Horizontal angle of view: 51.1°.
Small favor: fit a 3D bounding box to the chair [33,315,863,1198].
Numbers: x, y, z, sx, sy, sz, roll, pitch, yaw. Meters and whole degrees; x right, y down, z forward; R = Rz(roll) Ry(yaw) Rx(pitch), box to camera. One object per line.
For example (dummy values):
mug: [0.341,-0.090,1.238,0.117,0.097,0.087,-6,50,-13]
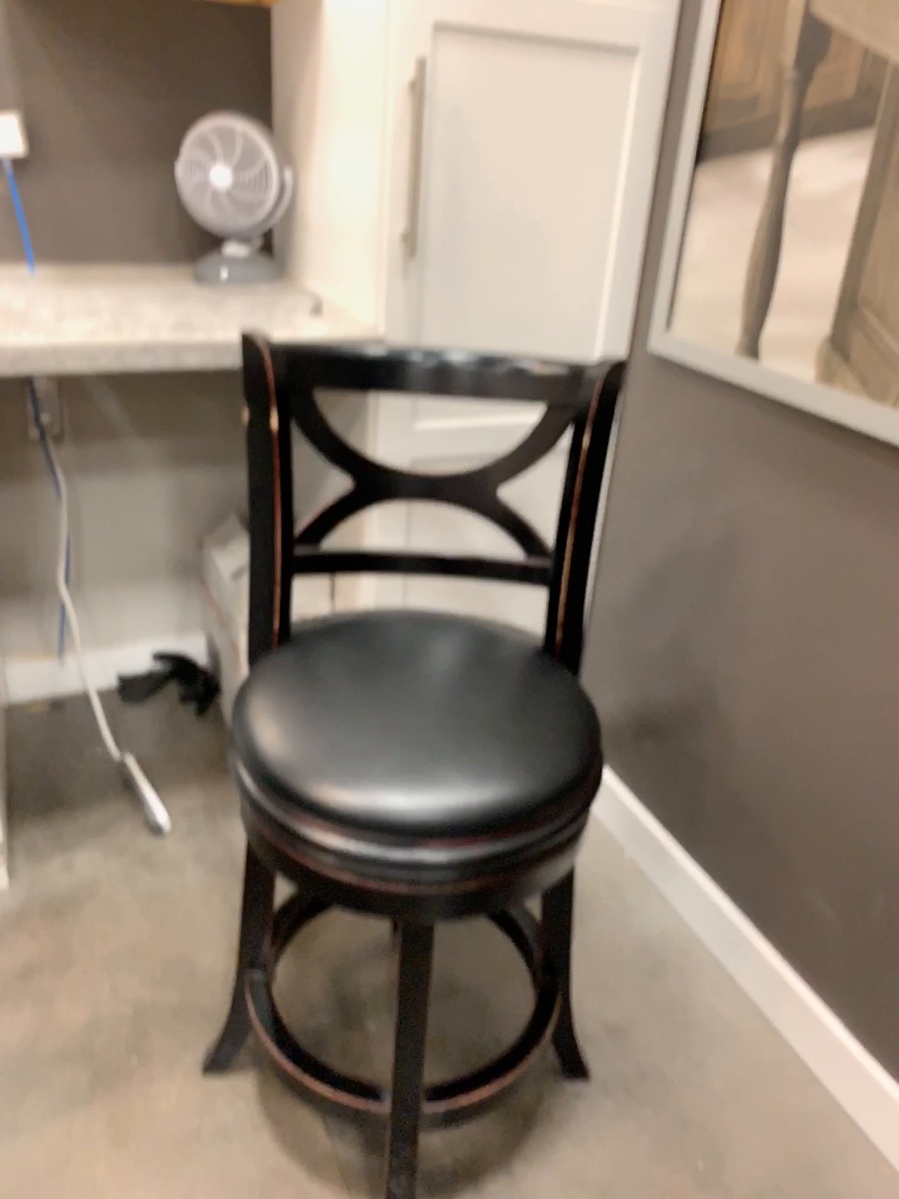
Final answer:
chair: [-0.042,0.208,1.100,0.557,0.912,0.607,2,26,-5]
